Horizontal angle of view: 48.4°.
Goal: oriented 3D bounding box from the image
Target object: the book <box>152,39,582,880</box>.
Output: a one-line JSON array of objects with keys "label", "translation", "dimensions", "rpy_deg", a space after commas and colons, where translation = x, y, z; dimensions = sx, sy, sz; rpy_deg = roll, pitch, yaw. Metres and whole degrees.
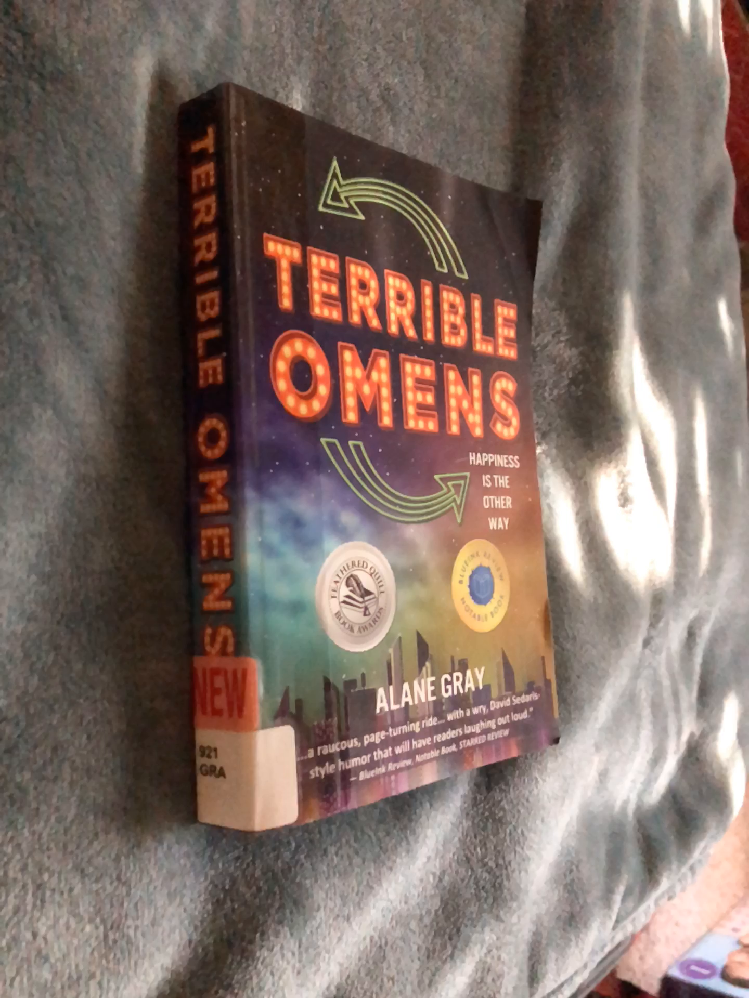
[{"label": "book", "translation": [0.006, -0.010, 0.256], "dimensions": [0.141, 0.028, 0.200], "rpy_deg": [1, 84, -45]}]
